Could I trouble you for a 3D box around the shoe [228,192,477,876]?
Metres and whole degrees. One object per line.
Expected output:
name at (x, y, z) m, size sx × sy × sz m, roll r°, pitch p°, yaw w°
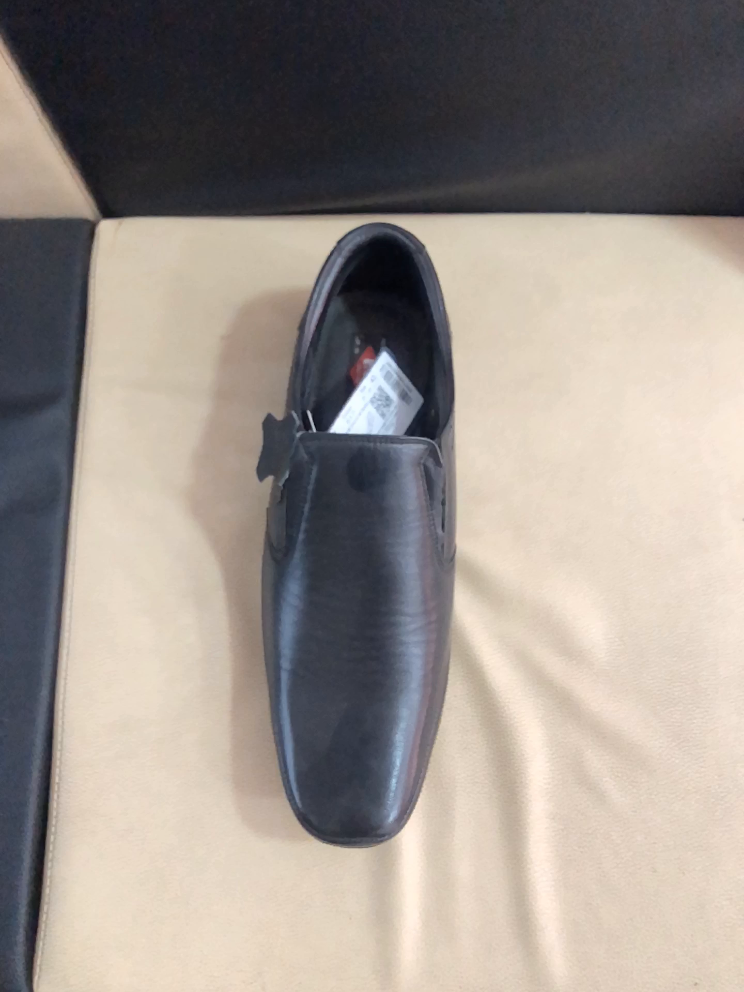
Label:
shoe at (-0.002, 0.012, 0.426) m, size 0.100 × 0.090 × 0.320 m, roll 2°, pitch 75°, yaw 2°
